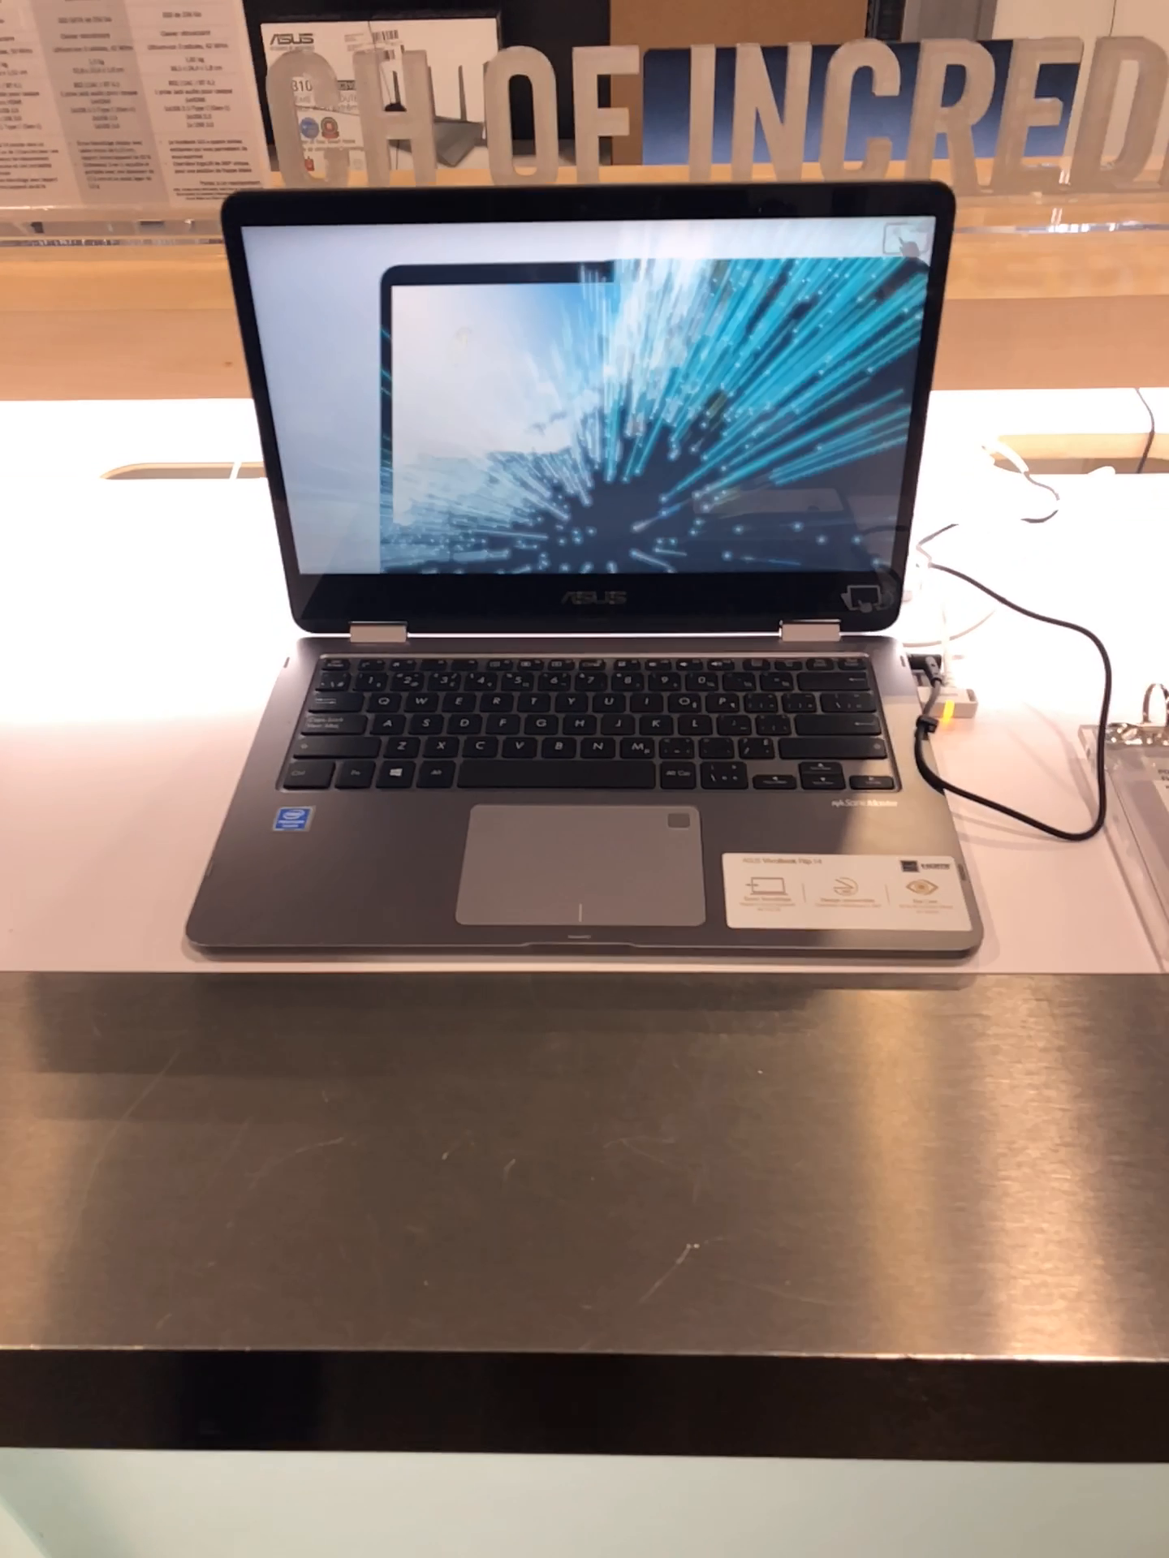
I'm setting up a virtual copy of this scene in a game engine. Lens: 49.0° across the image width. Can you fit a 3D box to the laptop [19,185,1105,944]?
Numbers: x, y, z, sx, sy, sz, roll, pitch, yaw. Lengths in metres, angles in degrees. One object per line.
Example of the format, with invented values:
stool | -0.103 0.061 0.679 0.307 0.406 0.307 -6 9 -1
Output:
laptop | -0.003 -0.087 0.505 0.303 0.210 0.211 0 41 3
